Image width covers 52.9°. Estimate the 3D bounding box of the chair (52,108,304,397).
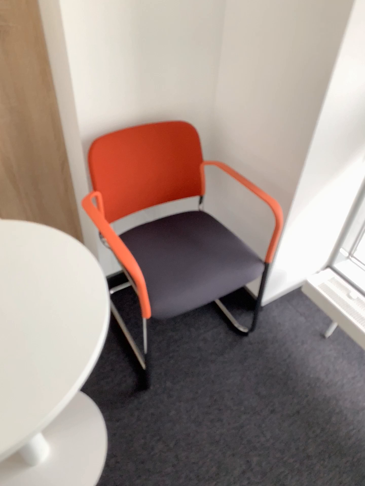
[{"bbox_3d":[-0.052,0.024,1.385,0.571,0.775,0.562,-20,47,-24],"label":"chair"}]
